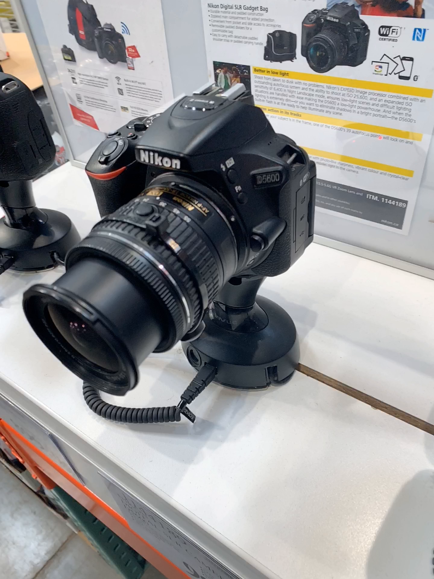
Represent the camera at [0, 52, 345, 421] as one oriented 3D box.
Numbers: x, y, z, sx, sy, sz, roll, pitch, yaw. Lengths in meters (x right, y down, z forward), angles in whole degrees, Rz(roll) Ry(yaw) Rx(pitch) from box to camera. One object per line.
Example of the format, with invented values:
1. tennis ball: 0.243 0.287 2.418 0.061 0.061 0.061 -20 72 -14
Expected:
1. camera: -0.022 -0.040 0.214 0.111 0.090 0.140 19 48 27
